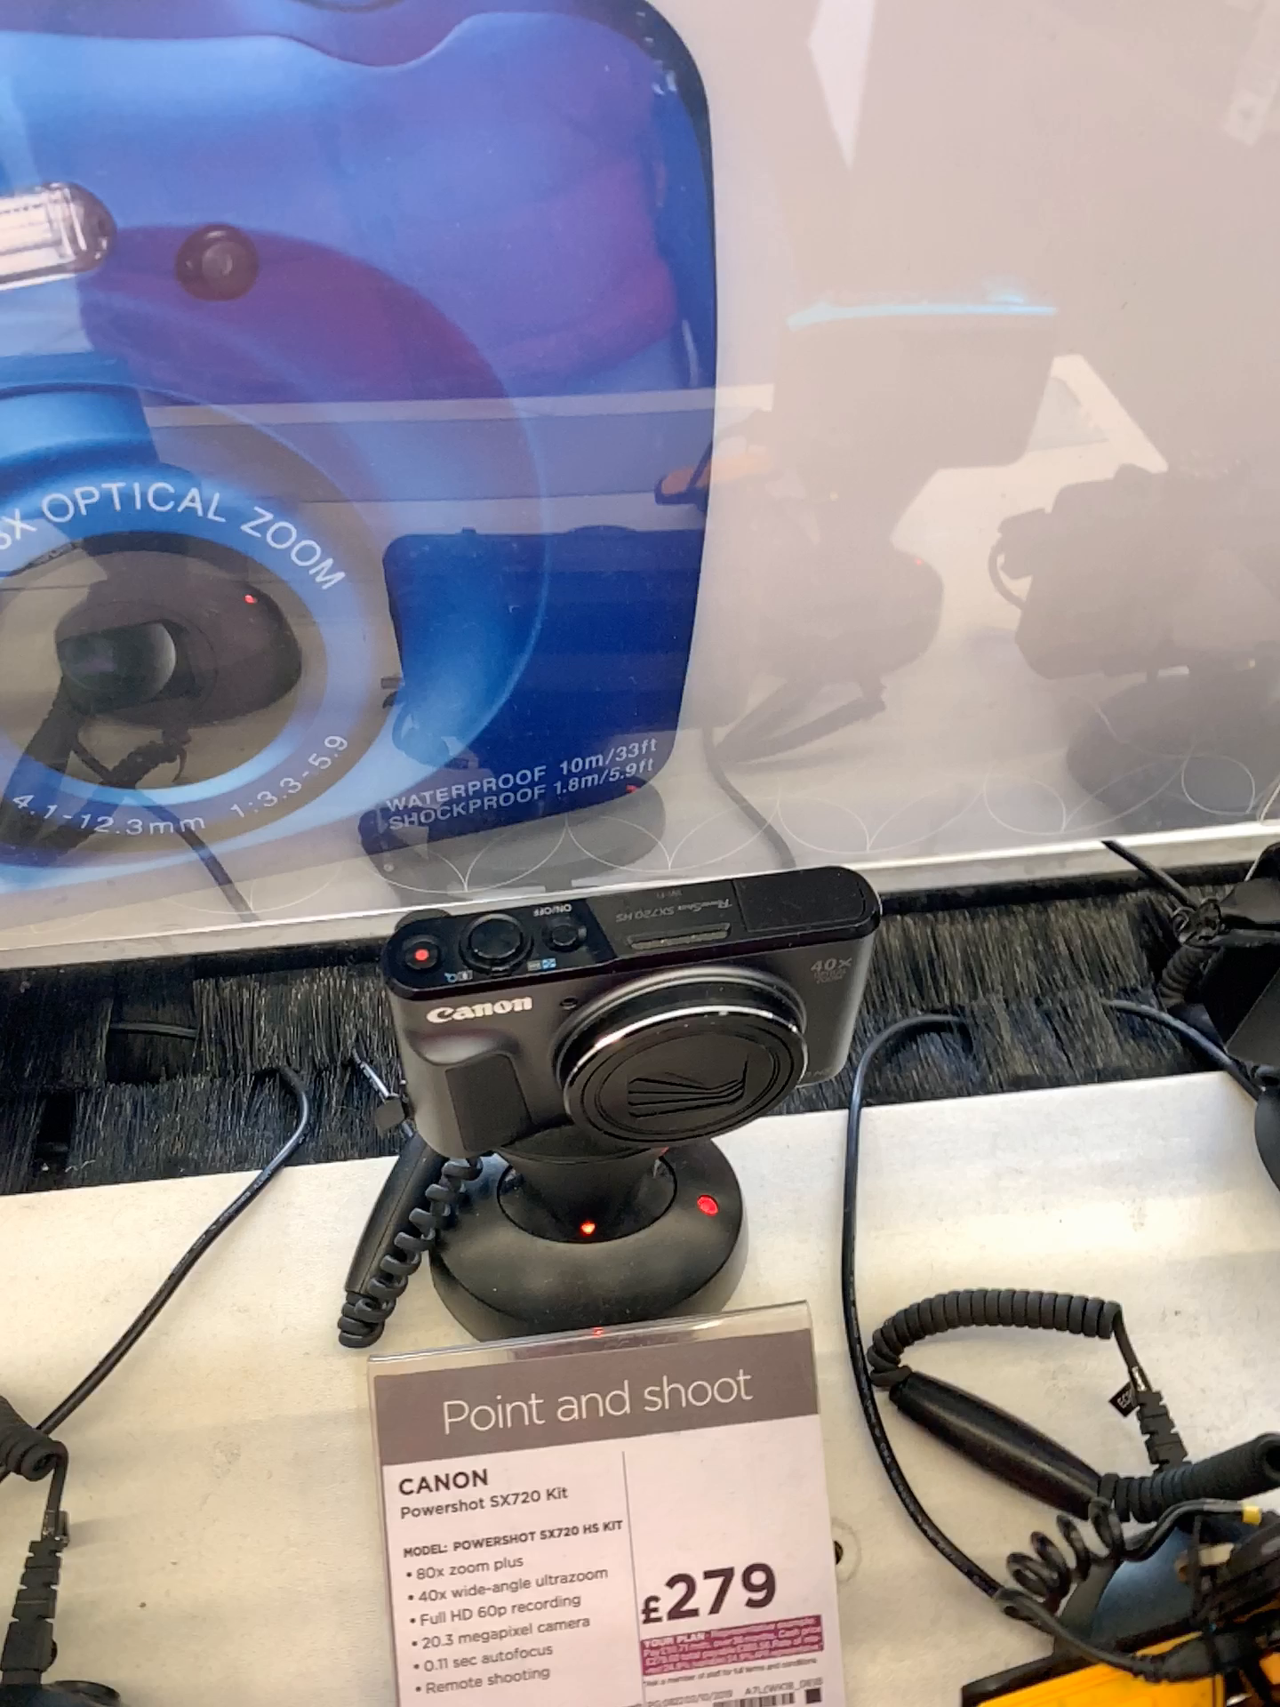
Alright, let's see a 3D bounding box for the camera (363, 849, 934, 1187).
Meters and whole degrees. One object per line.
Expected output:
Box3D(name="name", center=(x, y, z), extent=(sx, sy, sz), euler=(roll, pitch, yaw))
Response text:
Box3D(name="camera", center=(0.001, 0.037, 0.290), extent=(0.113, 0.061, 0.031), euler=(-7, 50, -7))
